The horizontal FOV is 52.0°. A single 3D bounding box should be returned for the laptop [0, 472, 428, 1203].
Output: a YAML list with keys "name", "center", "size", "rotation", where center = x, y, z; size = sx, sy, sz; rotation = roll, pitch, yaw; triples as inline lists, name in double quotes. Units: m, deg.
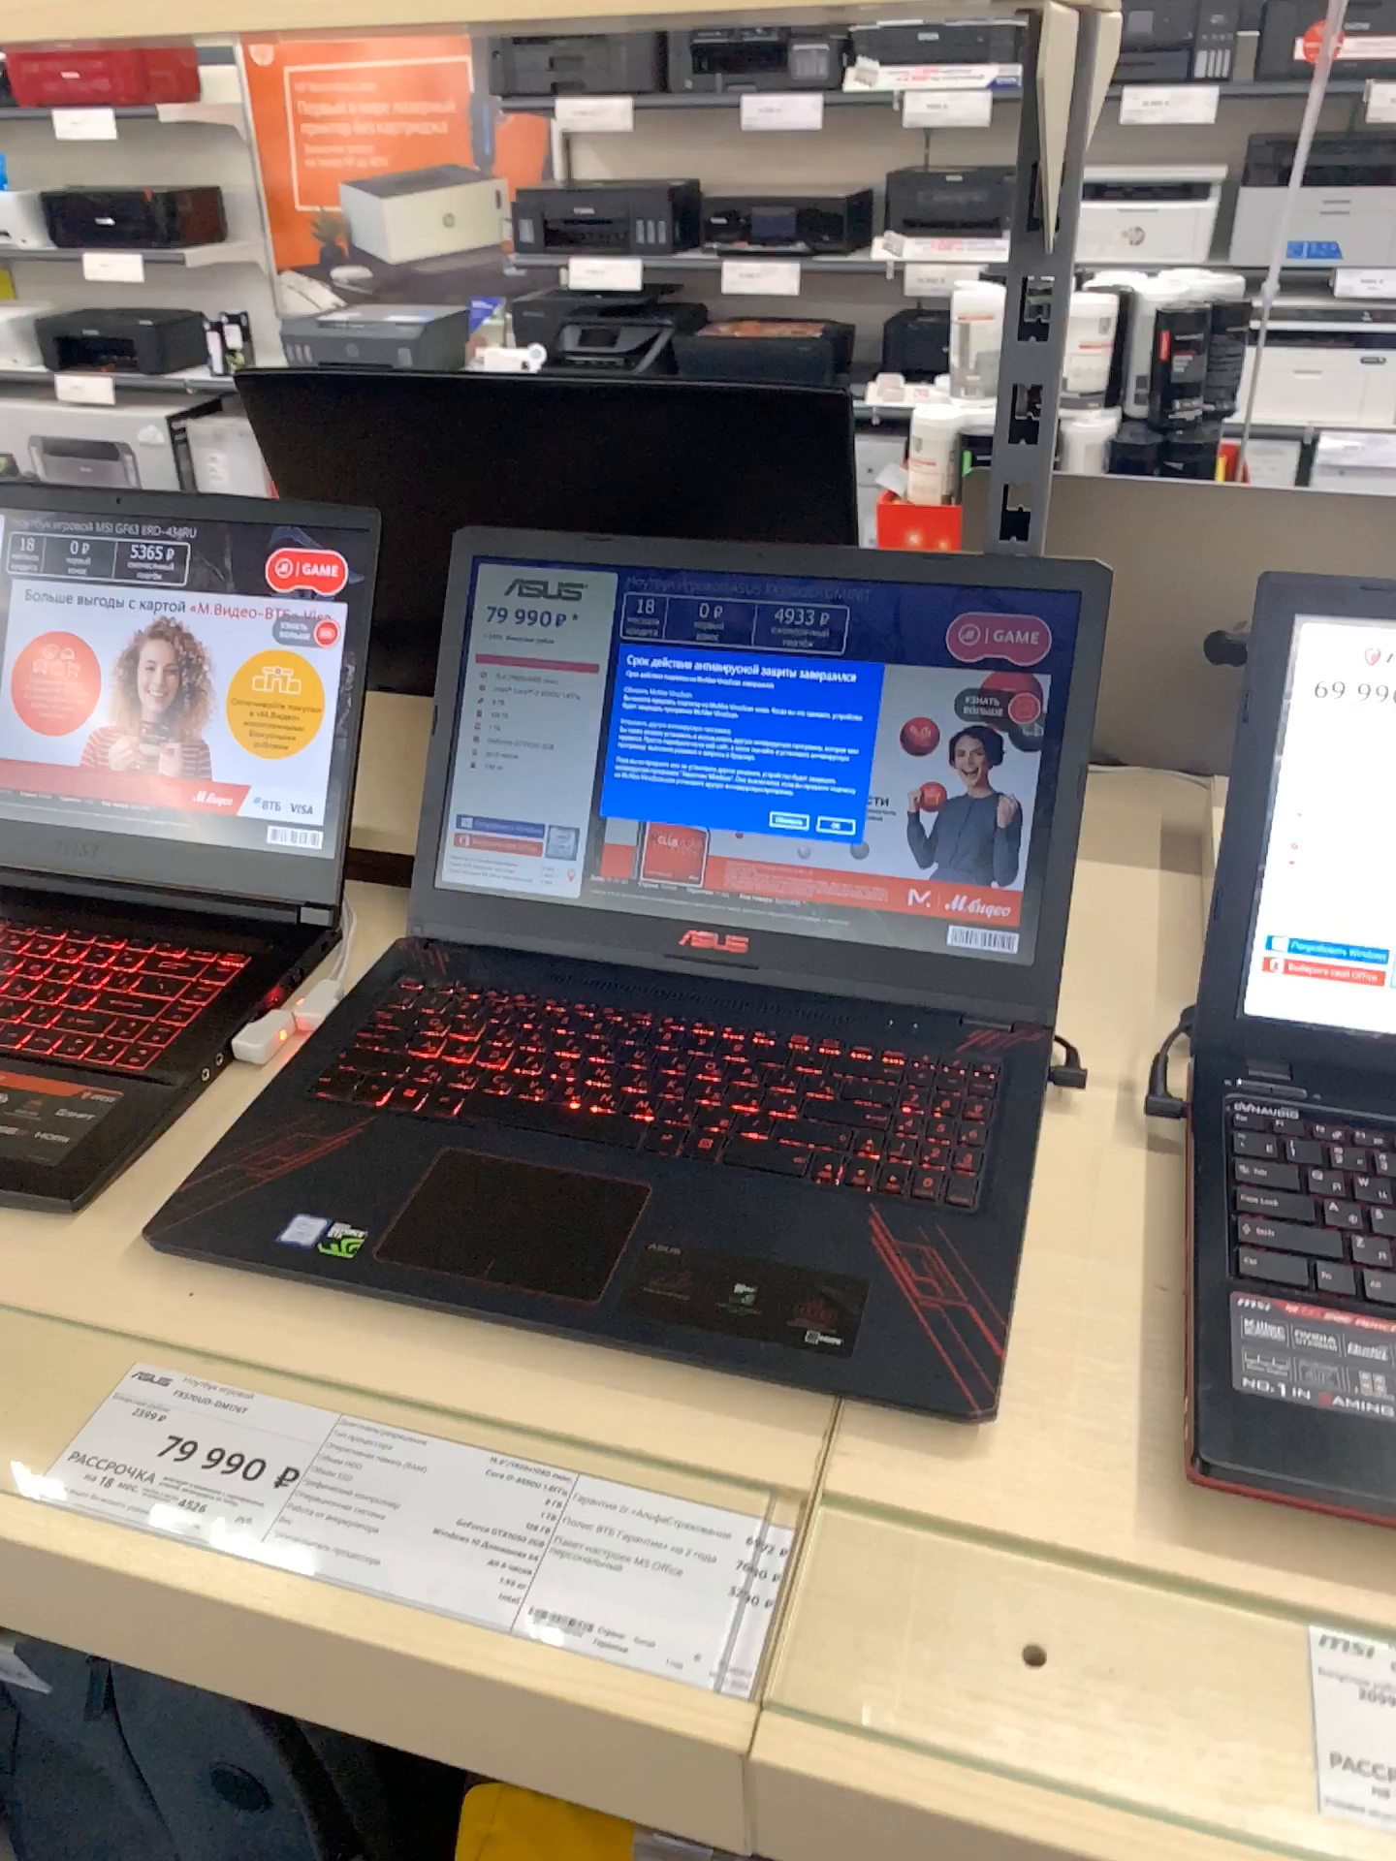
- name: "laptop"
  center: [-0.392, -0.082, 0.765]
  size: [0.338, 0.209, 0.354]
  rotation: [8, 33, 14]

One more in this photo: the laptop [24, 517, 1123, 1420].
- name: "laptop"
  center: [-0.012, -0.031, 0.672]
  size: [0.365, 0.199, 0.384]
  rotation: [7, 33, 16]
